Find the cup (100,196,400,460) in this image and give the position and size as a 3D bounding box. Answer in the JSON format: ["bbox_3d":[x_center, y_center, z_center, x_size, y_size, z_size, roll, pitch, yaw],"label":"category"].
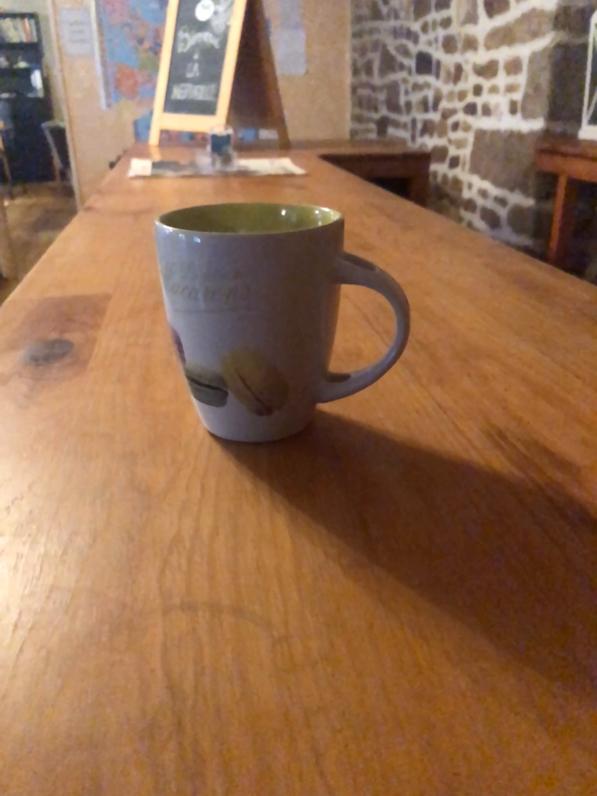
[{"bbox_3d":[-0.014,-0.041,0.330,0.120,0.099,0.098,4,25,9],"label":"cup"}]
